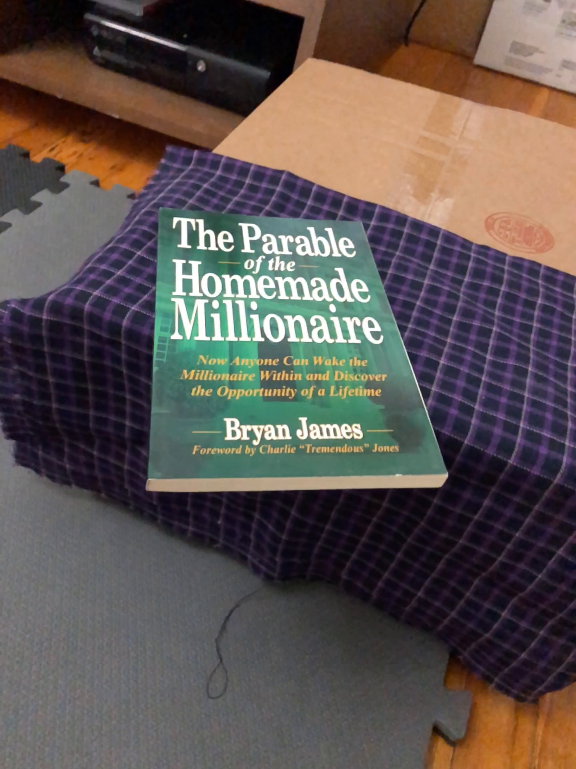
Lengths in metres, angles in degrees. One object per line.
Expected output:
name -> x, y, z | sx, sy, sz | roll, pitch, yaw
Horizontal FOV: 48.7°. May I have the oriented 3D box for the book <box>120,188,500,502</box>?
book -> 0.000, -0.036, 0.340 | 0.160, 0.020, 0.211 | 0, 47, -10
